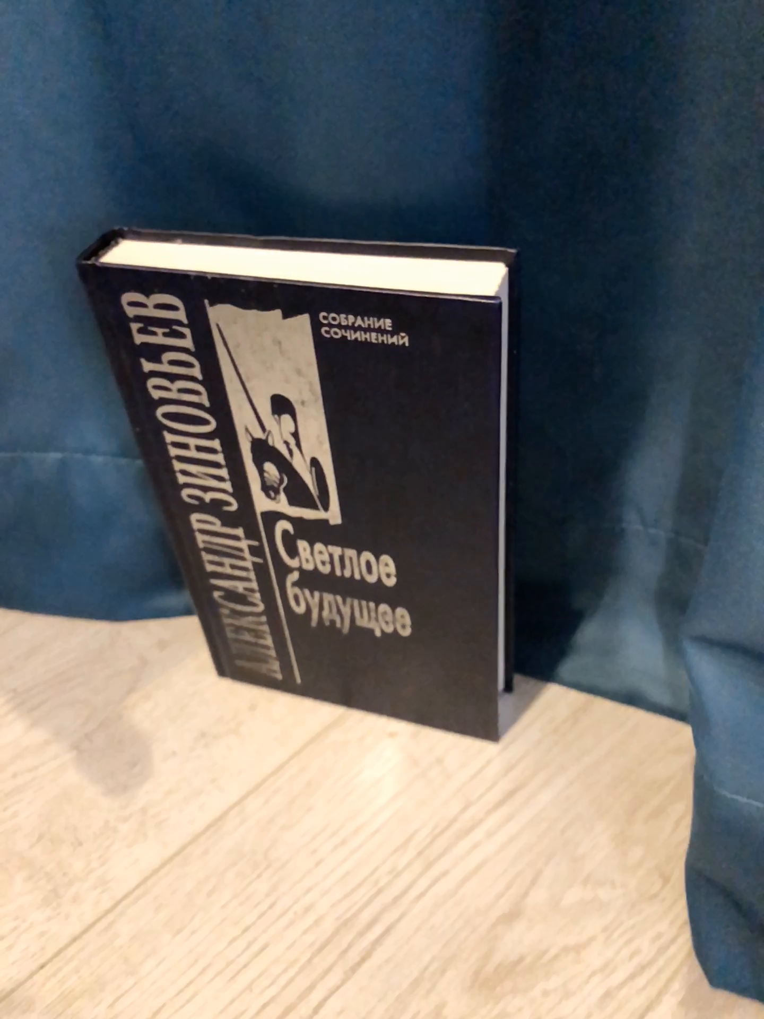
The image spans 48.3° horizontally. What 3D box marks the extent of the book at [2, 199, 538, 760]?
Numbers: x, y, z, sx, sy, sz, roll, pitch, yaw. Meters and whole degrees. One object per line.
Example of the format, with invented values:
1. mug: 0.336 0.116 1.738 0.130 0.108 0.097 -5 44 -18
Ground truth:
1. book: -0.027 -0.002 0.306 0.150 0.199 0.040 9 43 17
